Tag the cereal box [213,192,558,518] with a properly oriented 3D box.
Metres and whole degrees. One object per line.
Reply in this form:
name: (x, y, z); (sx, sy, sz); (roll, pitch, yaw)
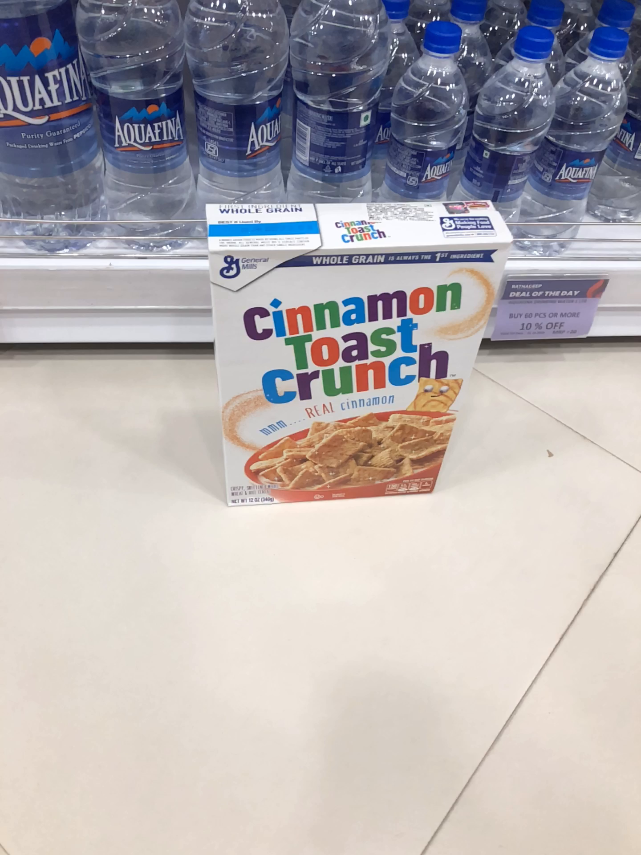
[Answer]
cereal box: (0.029, -0.037, 0.533); (0.200, 0.278, 0.060); (-4, 53, -8)
